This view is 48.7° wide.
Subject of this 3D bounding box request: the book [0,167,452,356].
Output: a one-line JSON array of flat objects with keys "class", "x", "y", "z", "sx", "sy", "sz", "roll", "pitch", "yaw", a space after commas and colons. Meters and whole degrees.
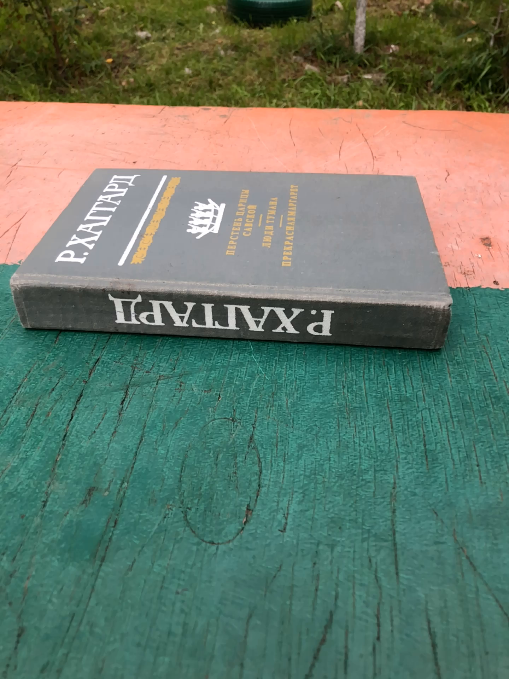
[{"class": "book", "x": -0.013, "y": -0.056, "z": 0.333, "sx": 0.221, "sy": 0.030, "sz": 0.151, "roll": 3, "pitch": 39, "yaw": 5}]
